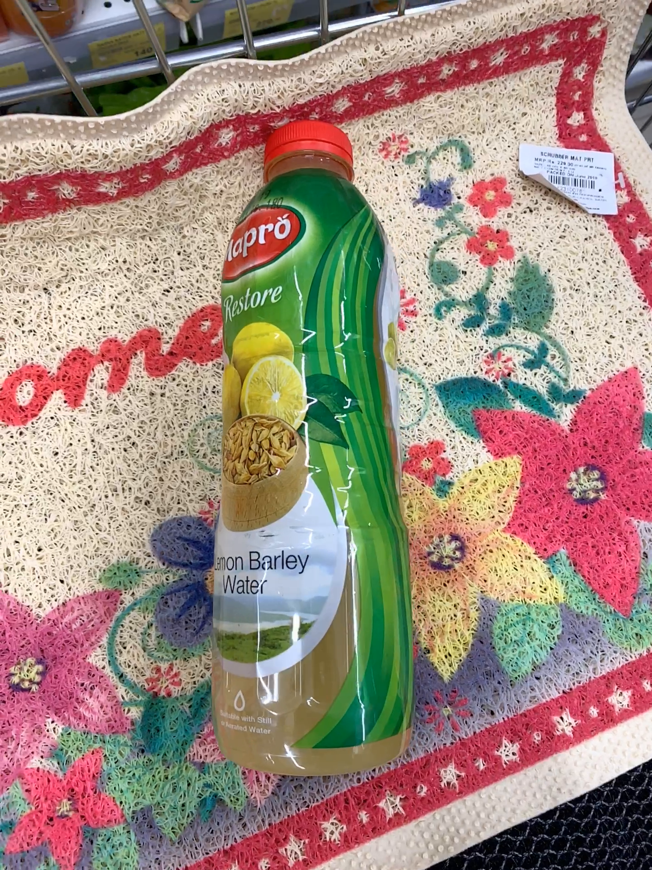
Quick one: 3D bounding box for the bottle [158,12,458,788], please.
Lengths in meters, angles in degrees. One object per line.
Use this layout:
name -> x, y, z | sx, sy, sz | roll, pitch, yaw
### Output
bottle -> -0.004, -0.015, 0.284 | 0.080, 0.090, 0.270 | -7, 76, 27
